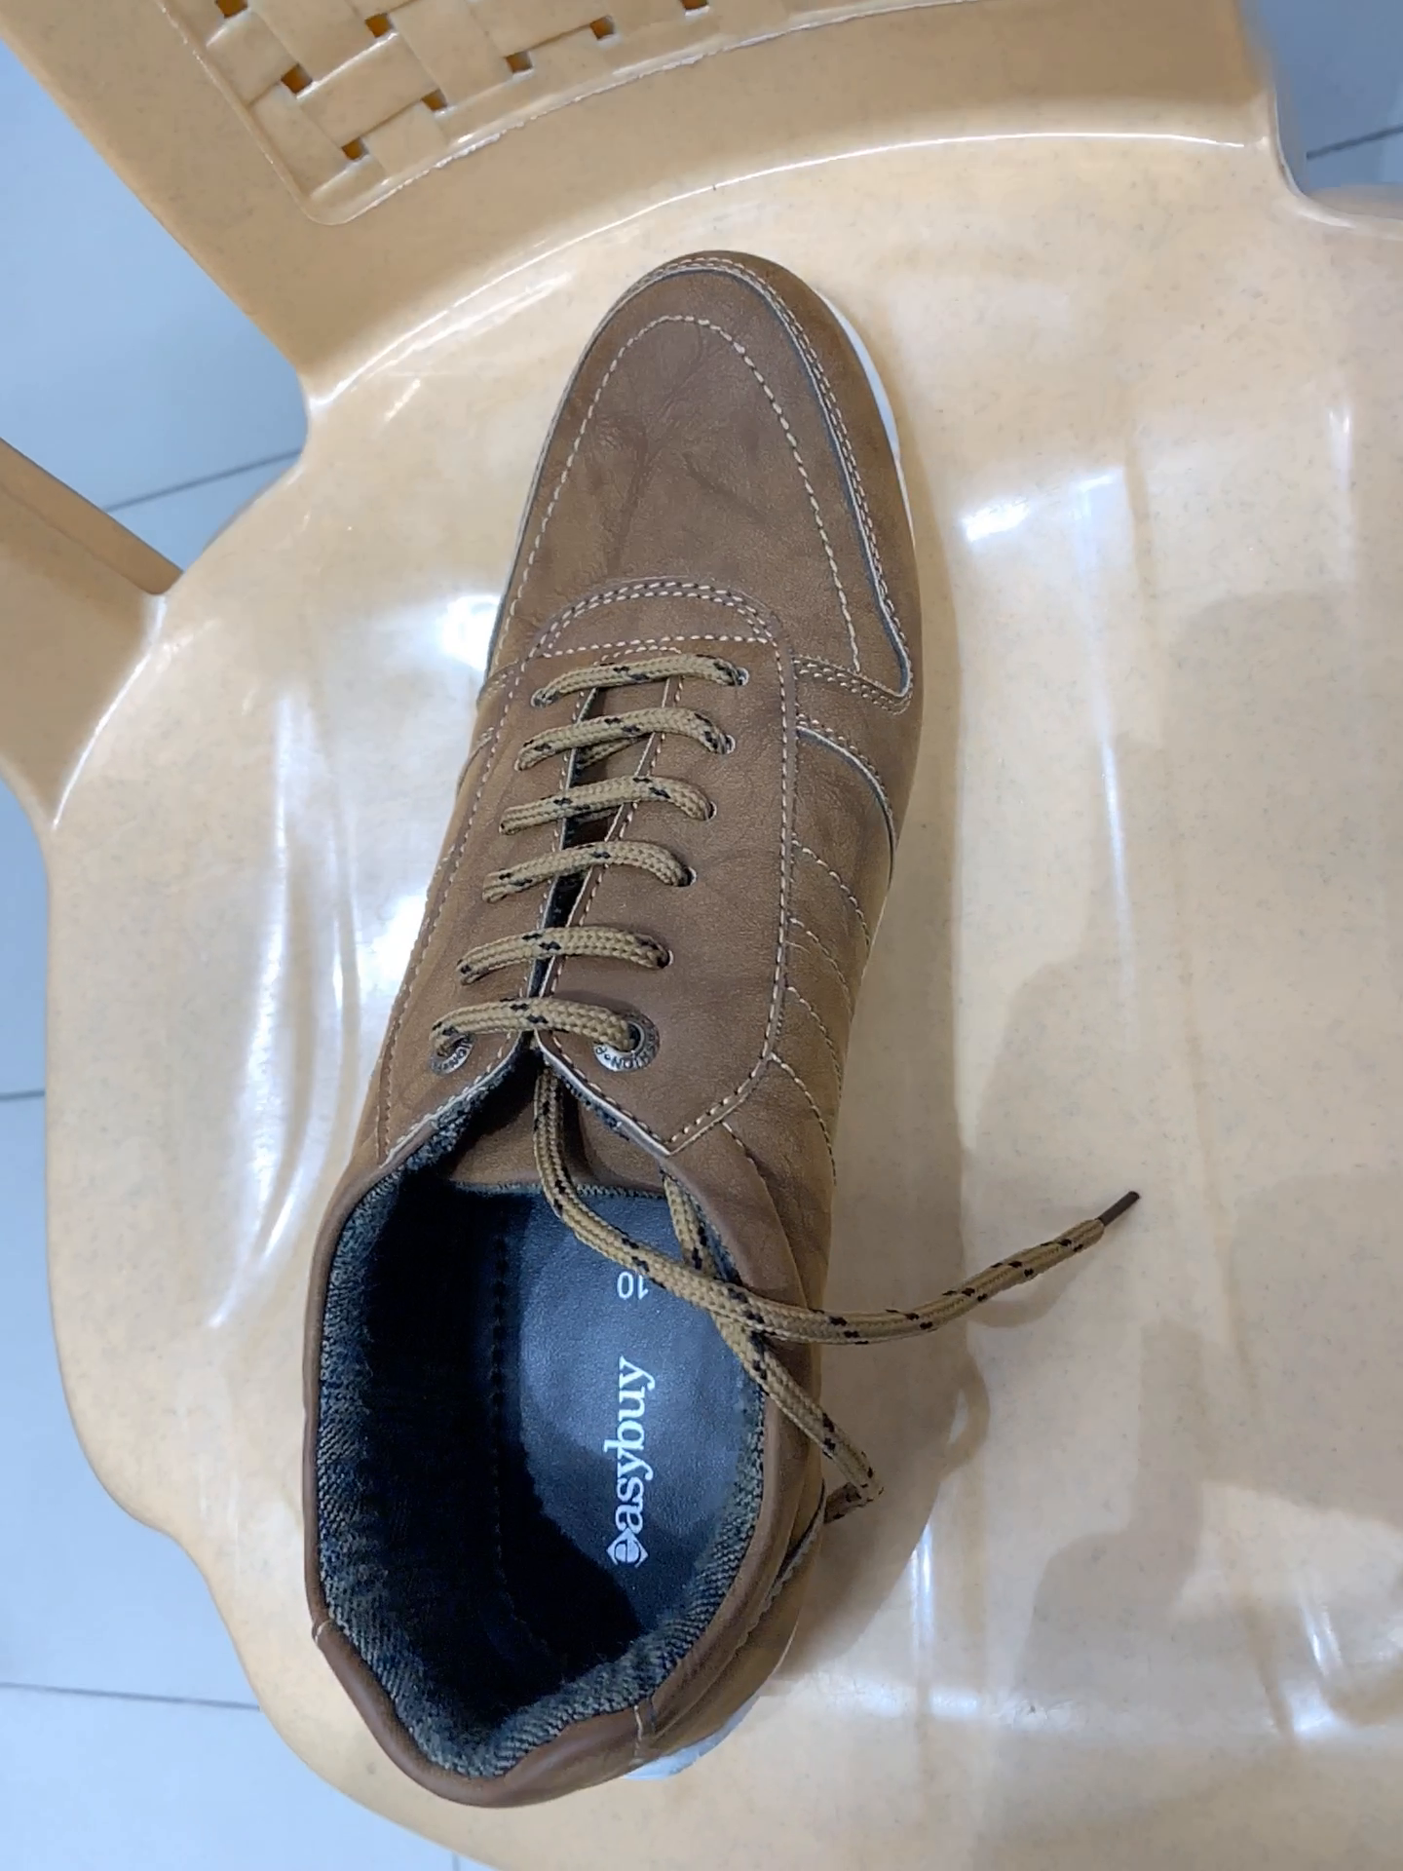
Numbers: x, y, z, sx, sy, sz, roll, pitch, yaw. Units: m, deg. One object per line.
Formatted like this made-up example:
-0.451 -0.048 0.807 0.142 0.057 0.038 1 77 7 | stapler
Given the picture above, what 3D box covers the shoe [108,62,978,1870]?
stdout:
-0.014 0.004 0.292 0.100 0.100 0.310 0 75 24 | shoe
